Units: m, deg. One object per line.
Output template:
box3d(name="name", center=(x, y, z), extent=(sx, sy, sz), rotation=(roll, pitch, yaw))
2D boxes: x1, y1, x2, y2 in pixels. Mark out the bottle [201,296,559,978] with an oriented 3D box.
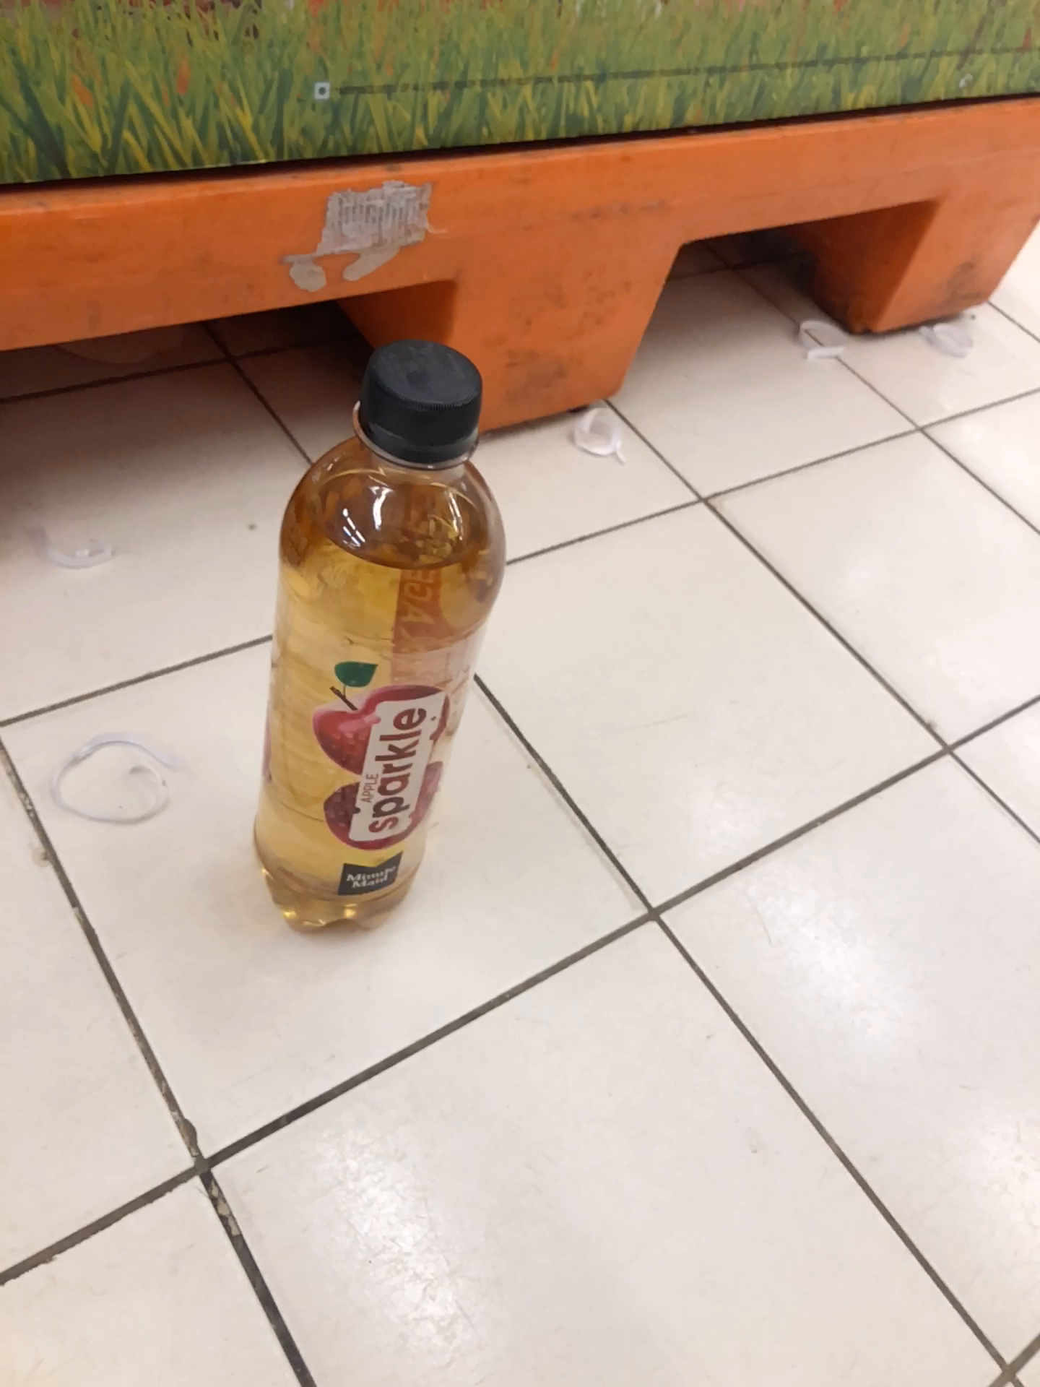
box3d(name="bottle", center=(-0.060, -0.002, 0.375), extent=(0.070, 0.238, 0.070), rotation=(8, 48, -9))
